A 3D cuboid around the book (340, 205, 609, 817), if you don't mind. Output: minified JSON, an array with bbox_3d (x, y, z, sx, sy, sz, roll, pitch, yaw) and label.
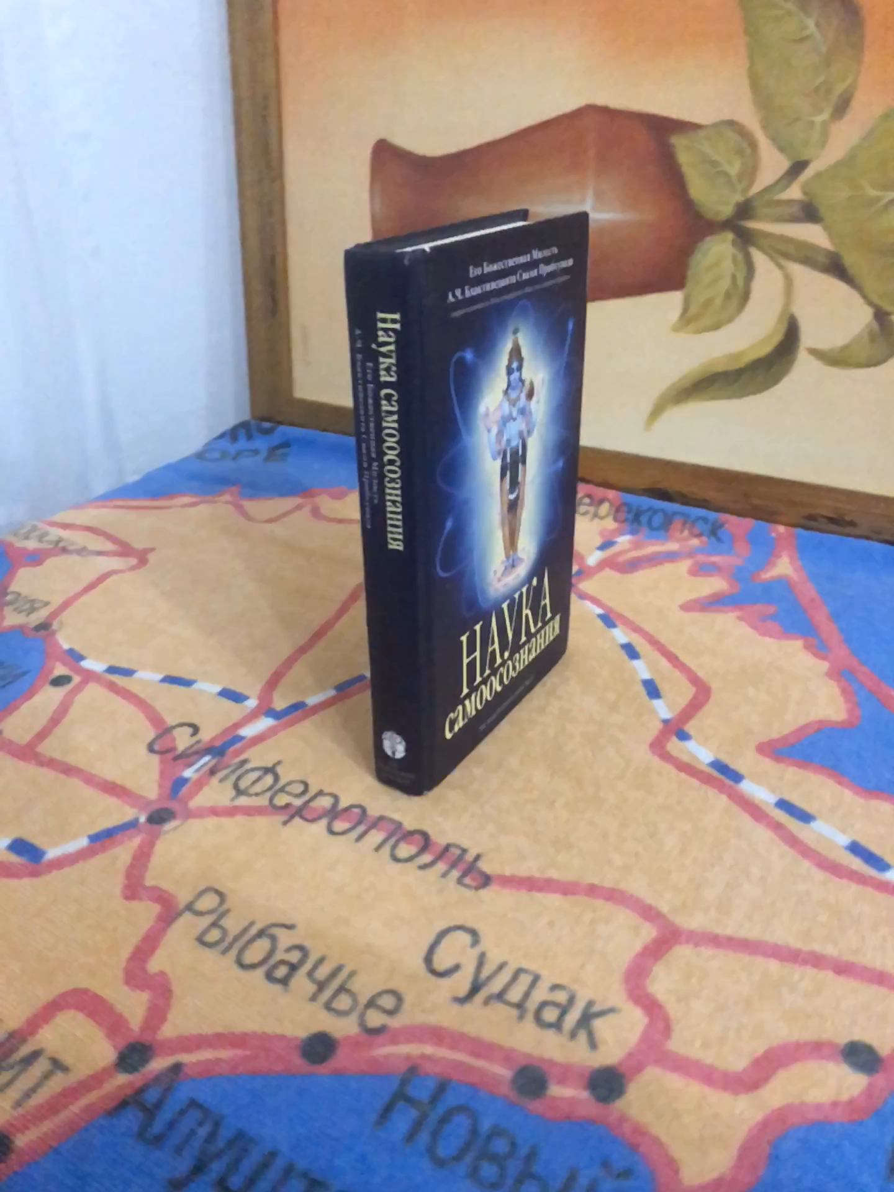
[{"bbox_3d":[0.017,-0.039,0.393,0.030,0.206,0.141,14,30,27],"label":"book"}]
